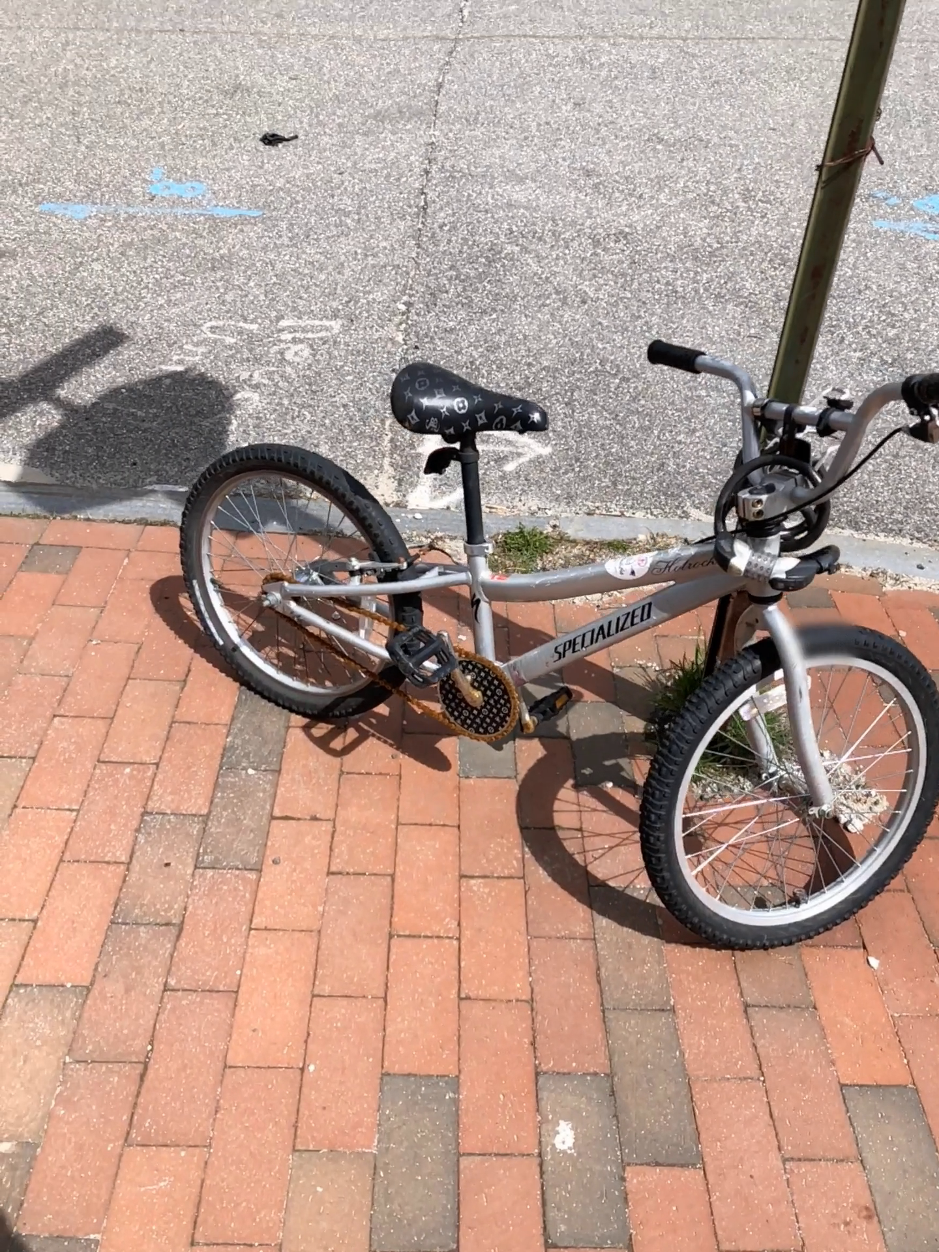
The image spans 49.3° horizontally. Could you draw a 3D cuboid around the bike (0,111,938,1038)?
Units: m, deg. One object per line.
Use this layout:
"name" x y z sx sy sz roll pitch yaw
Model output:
"bike" 0.098 -0.144 1.475 1.208 0.831 0.719 15 41 15
